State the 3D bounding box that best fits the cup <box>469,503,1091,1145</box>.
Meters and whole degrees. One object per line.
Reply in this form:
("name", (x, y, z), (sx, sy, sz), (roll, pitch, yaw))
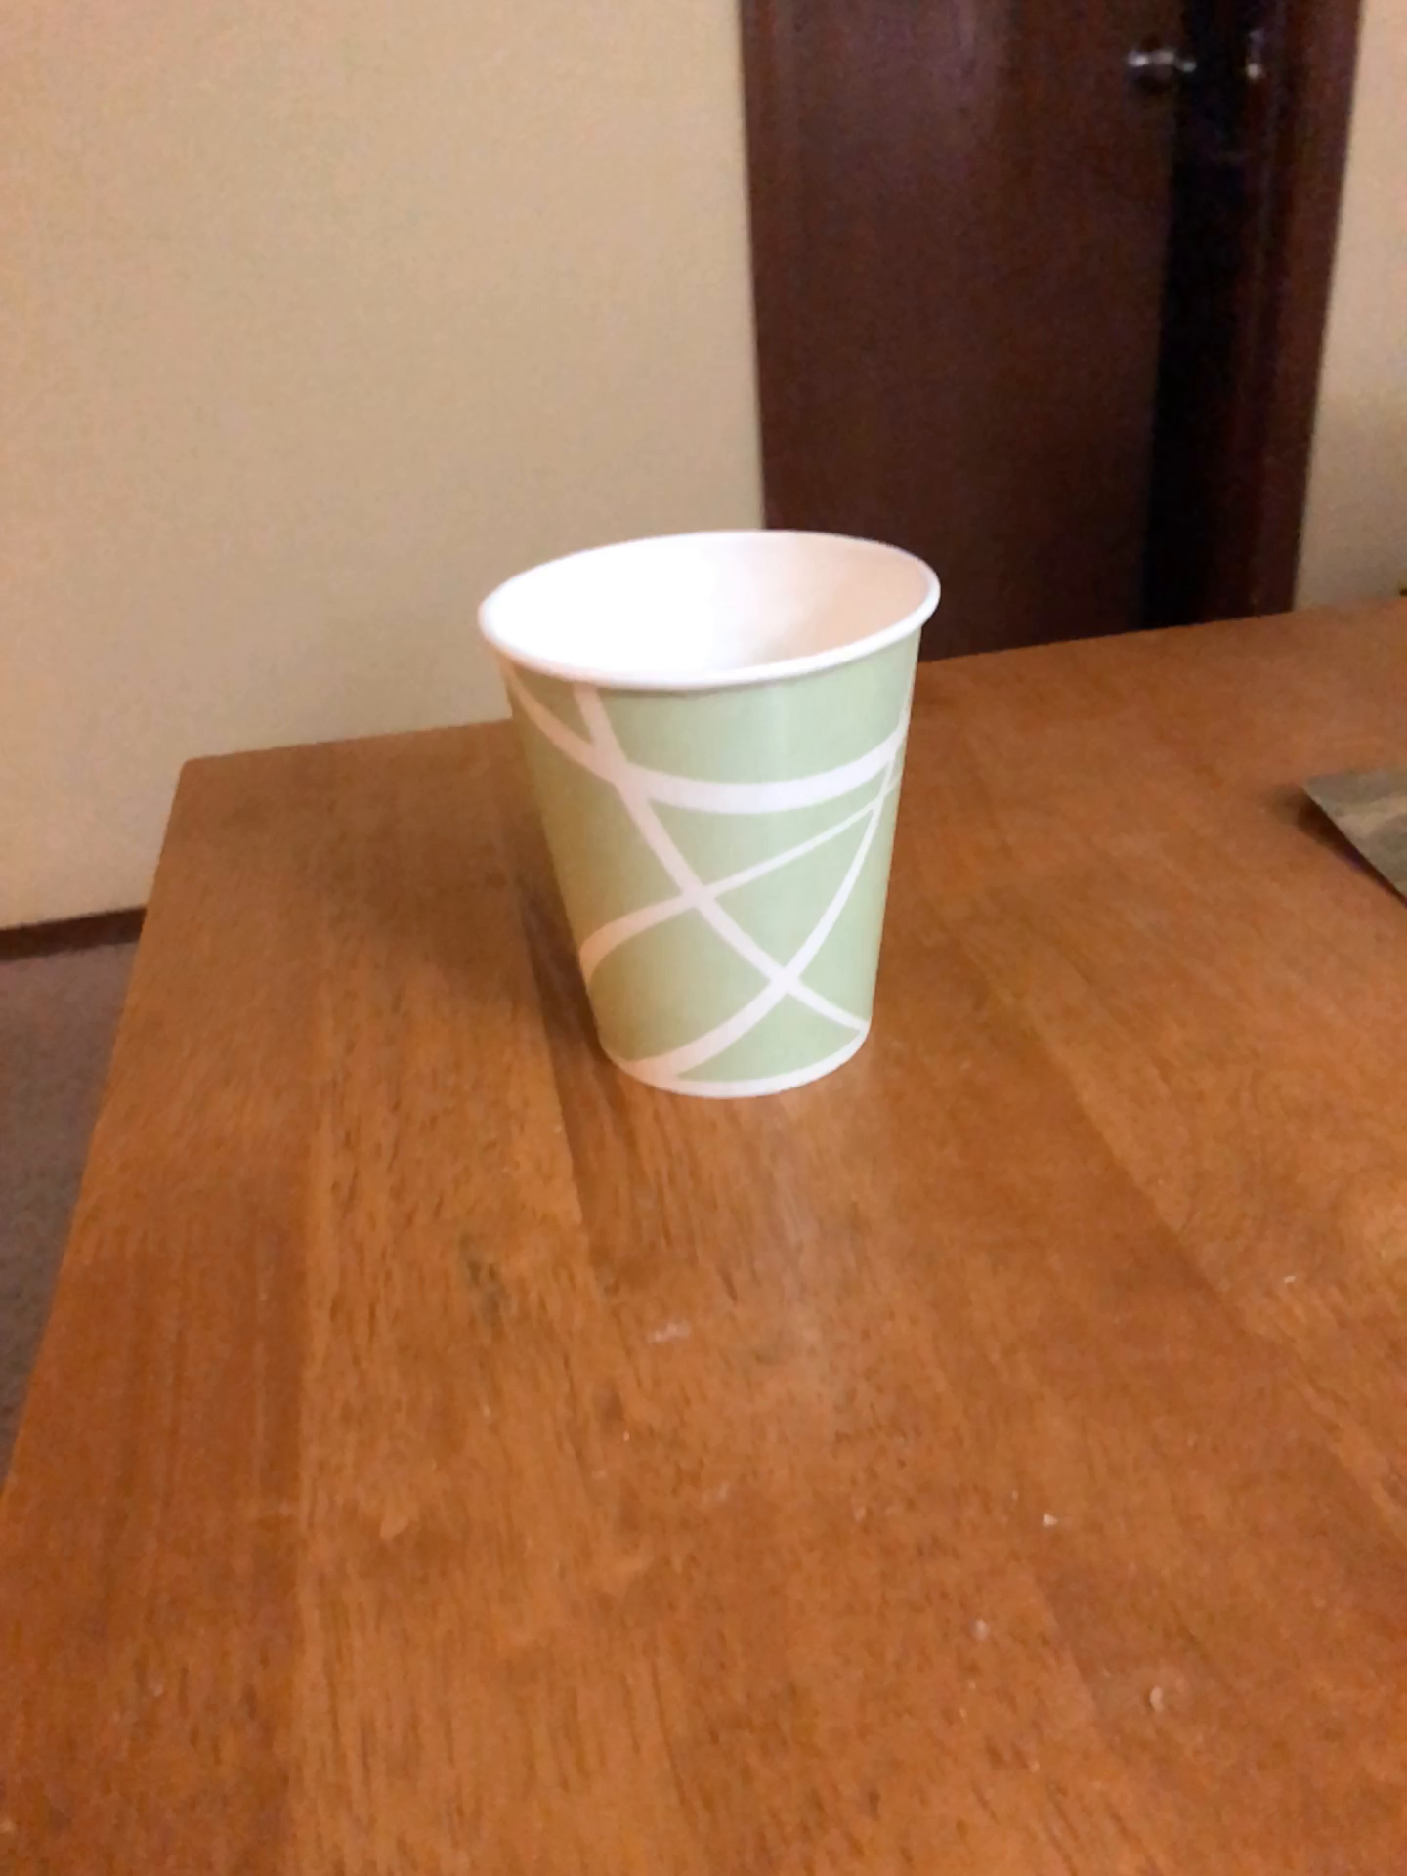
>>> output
("cup", (0.011, -0.029, 0.320), (0.100, 0.090, 0.090), (-9, 29, -8))
